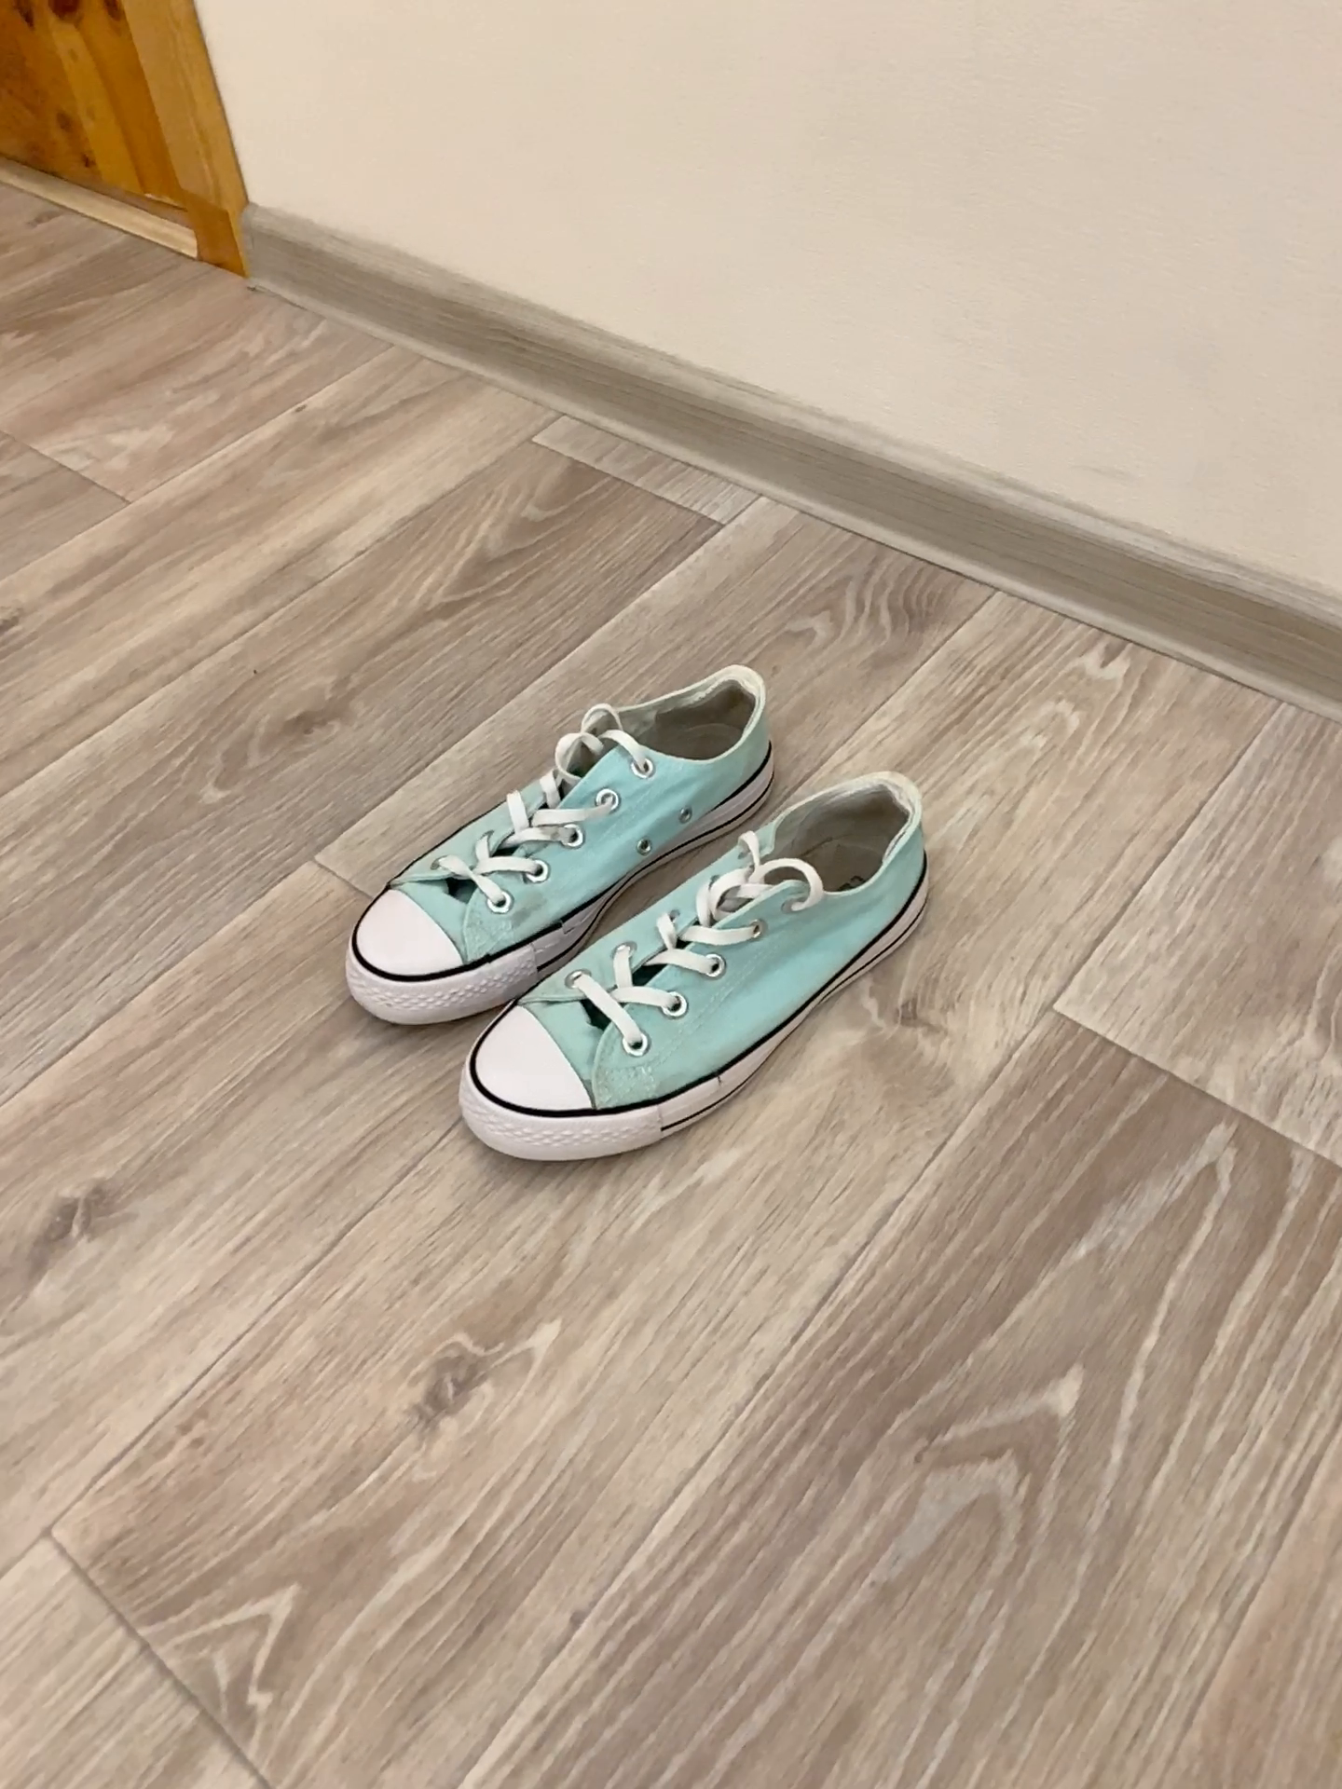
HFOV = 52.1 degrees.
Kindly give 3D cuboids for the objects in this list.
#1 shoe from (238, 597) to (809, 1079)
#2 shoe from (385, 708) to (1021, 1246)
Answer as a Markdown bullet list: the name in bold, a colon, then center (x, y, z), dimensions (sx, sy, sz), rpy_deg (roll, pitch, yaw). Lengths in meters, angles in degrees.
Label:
- **shoe**: center (-0.058, -0.035, 0.627), dimensions (0.250, 0.060, 0.093), rpy_deg (-37, 56, -24)
- **shoe**: center (0.019, 0.025, 0.580), dimensions (0.250, 0.060, 0.100), rpy_deg (-32, 55, -21)
